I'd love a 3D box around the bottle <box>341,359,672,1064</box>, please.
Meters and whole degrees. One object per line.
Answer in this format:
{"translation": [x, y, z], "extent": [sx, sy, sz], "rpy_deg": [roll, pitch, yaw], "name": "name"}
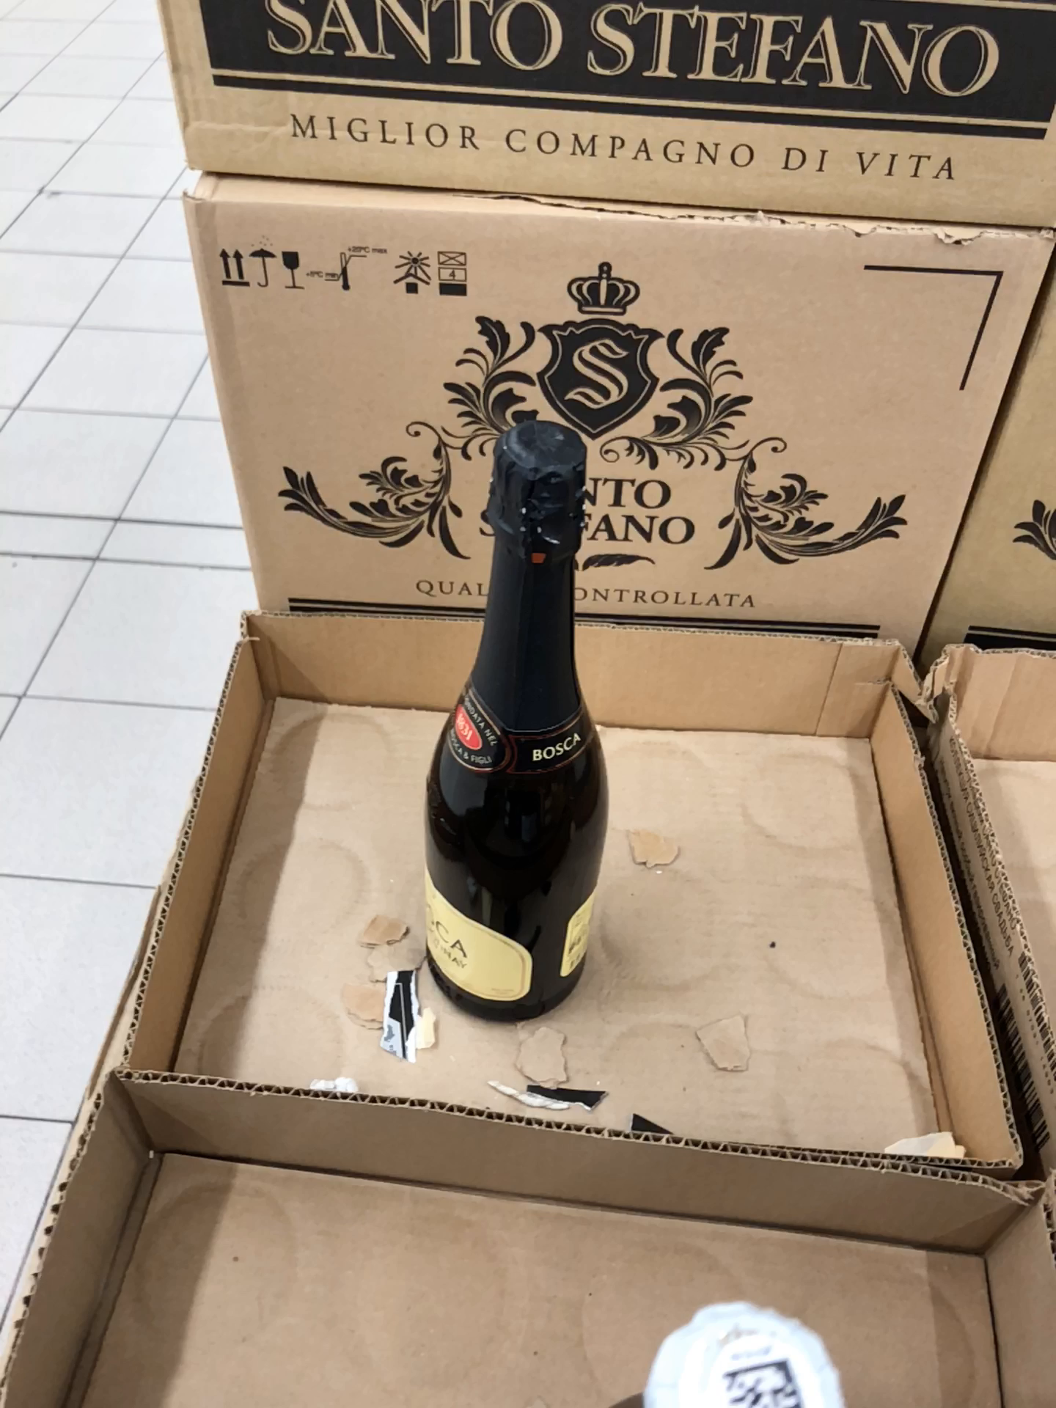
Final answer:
{"translation": [-0.010, 0.025, 0.483], "extent": [0.080, 0.308, 0.090], "rpy_deg": [-15, 48, -14], "name": "bottle"}
